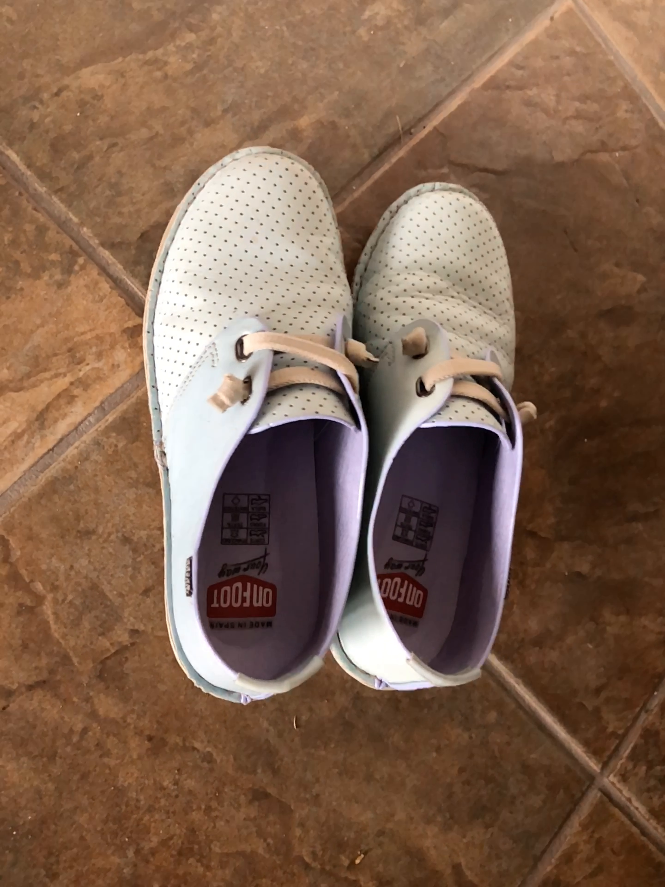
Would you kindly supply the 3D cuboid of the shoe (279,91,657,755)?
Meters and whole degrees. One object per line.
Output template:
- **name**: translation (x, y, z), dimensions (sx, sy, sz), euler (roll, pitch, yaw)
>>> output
- **shoe**: translation (0.059, -0.005, 0.340), dimensions (0.100, 0.100, 0.250), euler (13, 81, -18)

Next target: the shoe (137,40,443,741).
- **shoe**: translation (-0.023, -0.017, 0.322), dimensions (0.100, 0.100, 0.250), euler (4, 84, -19)
